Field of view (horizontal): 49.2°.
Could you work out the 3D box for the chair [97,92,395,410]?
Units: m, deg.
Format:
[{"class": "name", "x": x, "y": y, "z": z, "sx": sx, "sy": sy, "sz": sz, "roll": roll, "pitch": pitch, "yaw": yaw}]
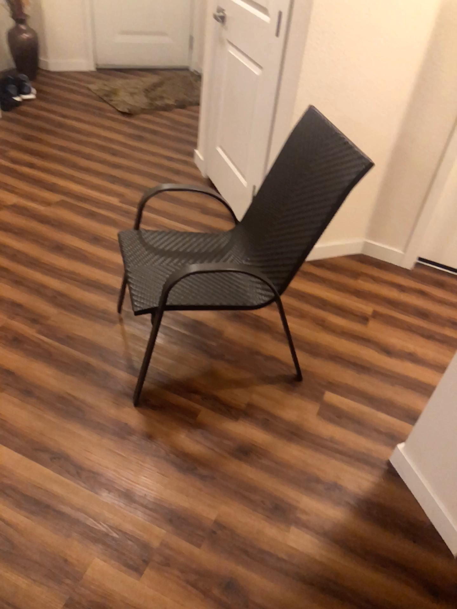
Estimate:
[{"class": "chair", "x": -0.027, "y": -0.192, "z": 1.745, "sx": 0.748, "sy": 0.852, "sz": 0.600, "roll": -5, "pitch": 41, "yaw": -15}]
